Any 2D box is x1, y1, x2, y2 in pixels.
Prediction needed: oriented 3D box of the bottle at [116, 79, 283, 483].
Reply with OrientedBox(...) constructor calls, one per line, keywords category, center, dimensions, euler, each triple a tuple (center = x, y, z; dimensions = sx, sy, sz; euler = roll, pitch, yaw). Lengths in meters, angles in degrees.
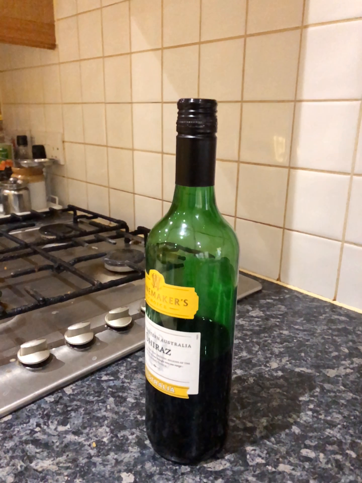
OrientedBox(category="bottle", center=(0.010, 0.028, 0.310), dimensions=(0.080, 0.279, 0.080), euler=(1, 17, 0))
